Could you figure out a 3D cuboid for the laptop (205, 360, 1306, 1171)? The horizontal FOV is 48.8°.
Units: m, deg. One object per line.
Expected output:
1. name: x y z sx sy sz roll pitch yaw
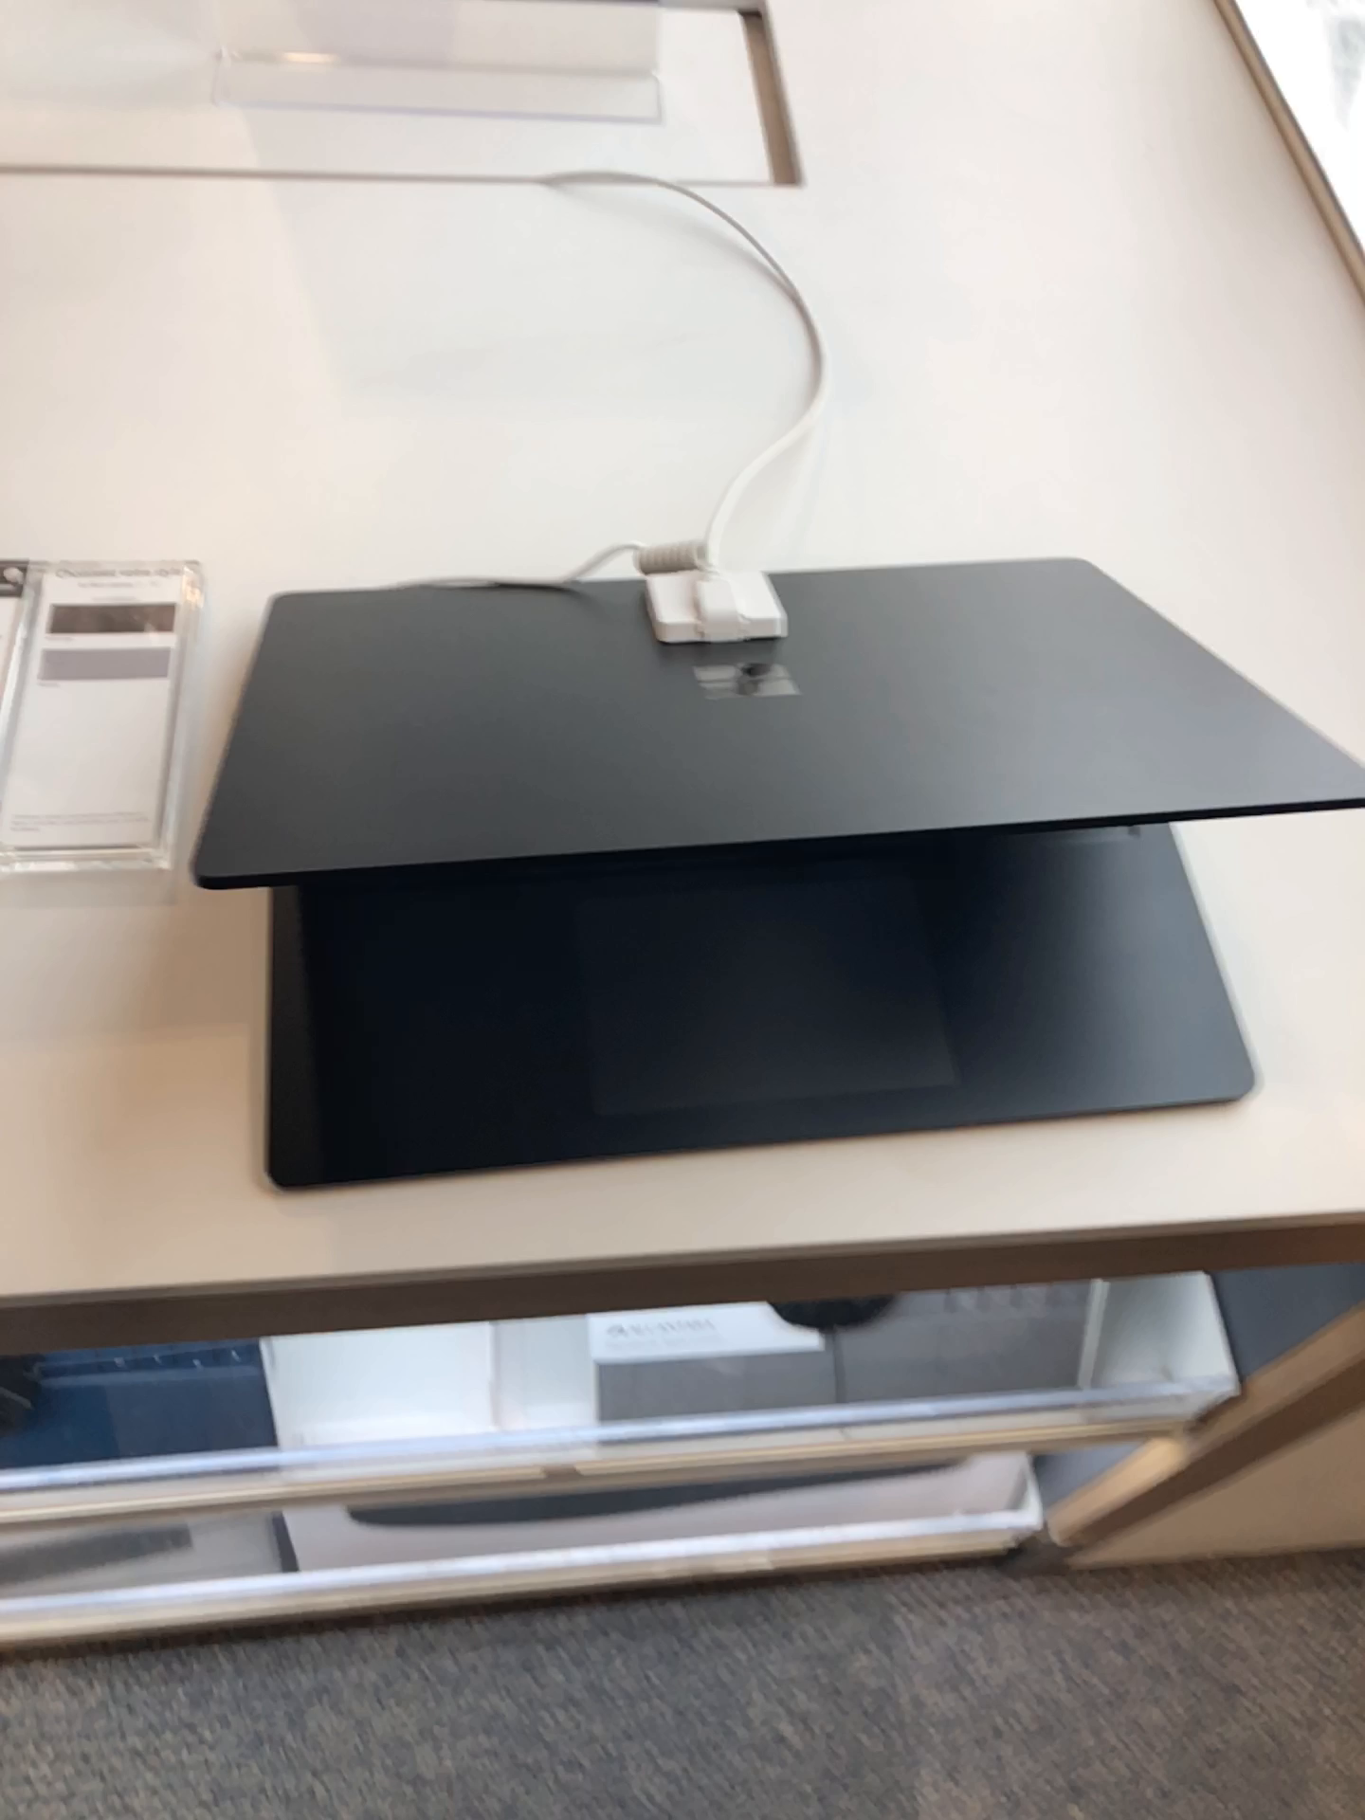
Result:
1. laptop: 0.013 -0.049 0.451 0.284 0.086 0.191 -5 66 -9
